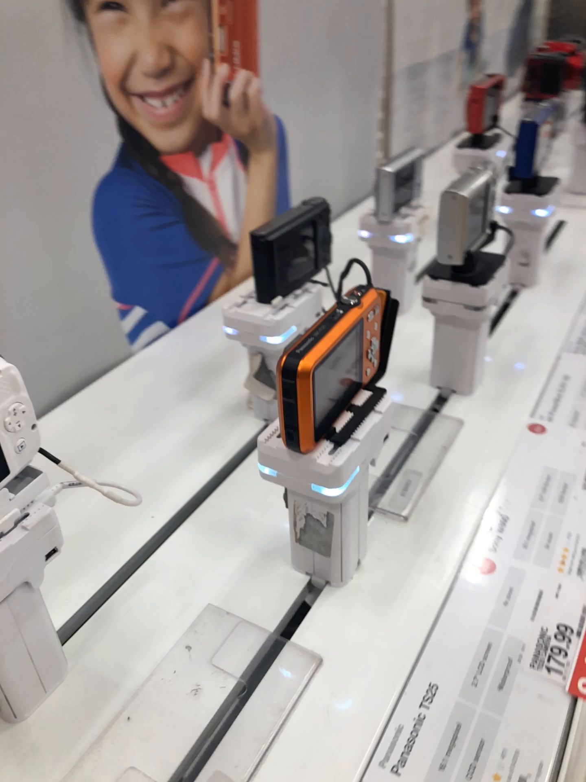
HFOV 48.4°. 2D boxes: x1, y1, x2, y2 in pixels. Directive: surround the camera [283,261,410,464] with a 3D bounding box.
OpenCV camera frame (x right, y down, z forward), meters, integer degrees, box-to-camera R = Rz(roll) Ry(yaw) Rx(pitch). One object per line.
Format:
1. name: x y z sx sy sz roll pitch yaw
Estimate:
1. camera: 0.034 -0.021 0.359 0.020 0.060 0.120 13 36 24
